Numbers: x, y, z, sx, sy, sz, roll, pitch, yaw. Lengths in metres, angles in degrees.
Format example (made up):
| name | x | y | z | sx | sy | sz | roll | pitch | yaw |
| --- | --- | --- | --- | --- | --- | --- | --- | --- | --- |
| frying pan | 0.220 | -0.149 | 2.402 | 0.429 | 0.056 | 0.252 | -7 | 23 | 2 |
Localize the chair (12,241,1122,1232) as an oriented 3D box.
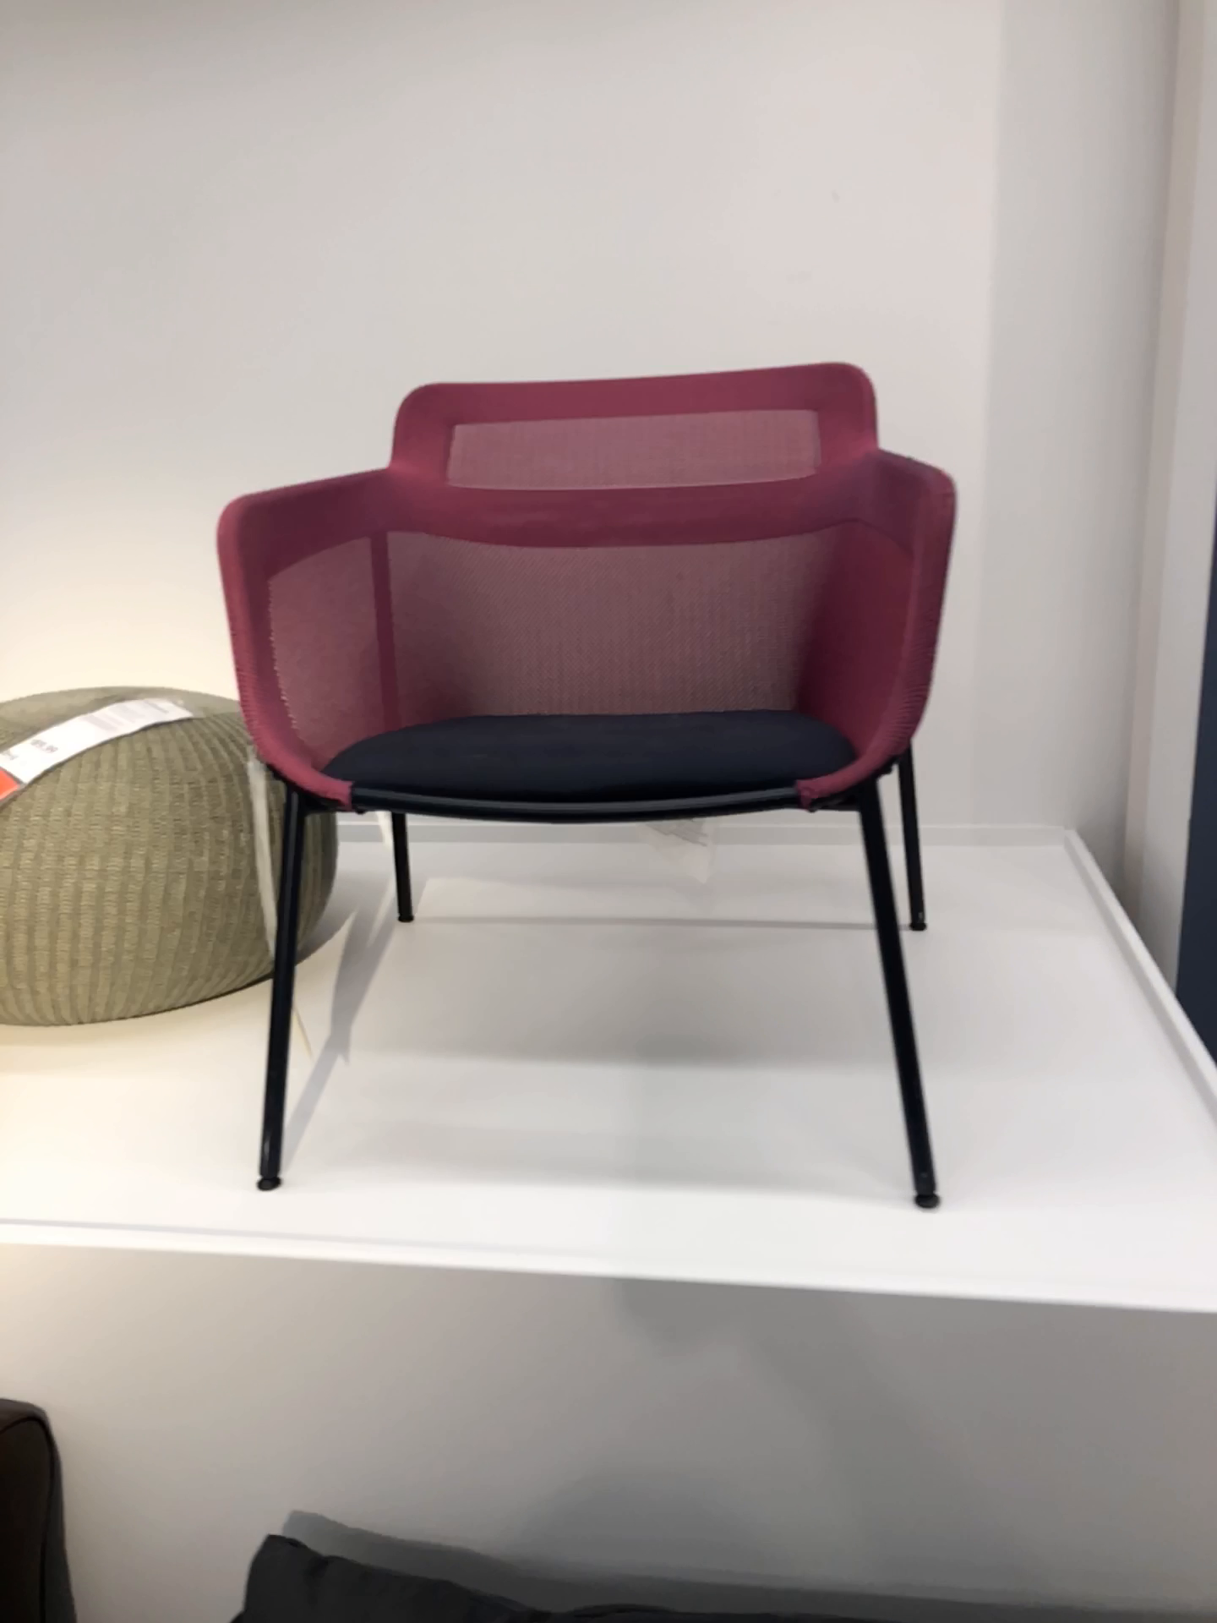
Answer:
| name | x | y | z | sx | sy | sz | roll | pitch | yaw |
| --- | --- | --- | --- | --- | --- | --- | --- | --- | --- |
| chair | 0.027 | -0.163 | 1.509 | 0.780 | 0.748 | 1.013 | 0 | 17 | 7 |
